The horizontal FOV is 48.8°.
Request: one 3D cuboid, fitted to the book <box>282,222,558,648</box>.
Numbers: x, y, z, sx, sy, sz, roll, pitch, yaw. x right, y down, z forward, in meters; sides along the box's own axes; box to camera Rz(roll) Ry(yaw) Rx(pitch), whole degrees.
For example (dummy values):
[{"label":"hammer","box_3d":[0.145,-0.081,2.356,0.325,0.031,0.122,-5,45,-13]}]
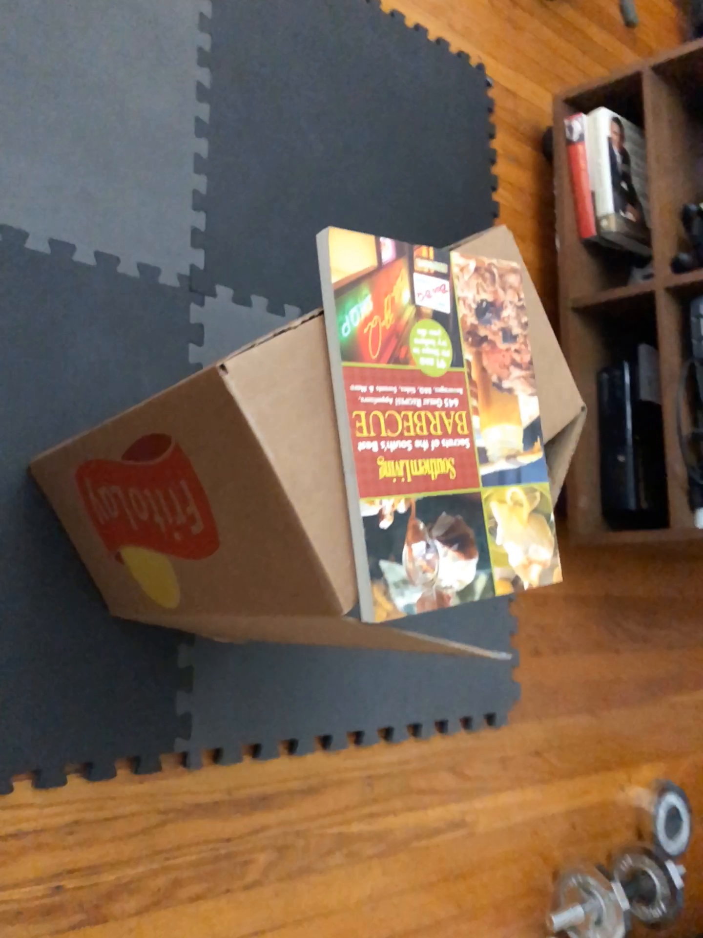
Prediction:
[{"label":"book","box_3d":[0.061,-0.029,0.596,0.221,0.020,0.290,-3,83,-39]}]
